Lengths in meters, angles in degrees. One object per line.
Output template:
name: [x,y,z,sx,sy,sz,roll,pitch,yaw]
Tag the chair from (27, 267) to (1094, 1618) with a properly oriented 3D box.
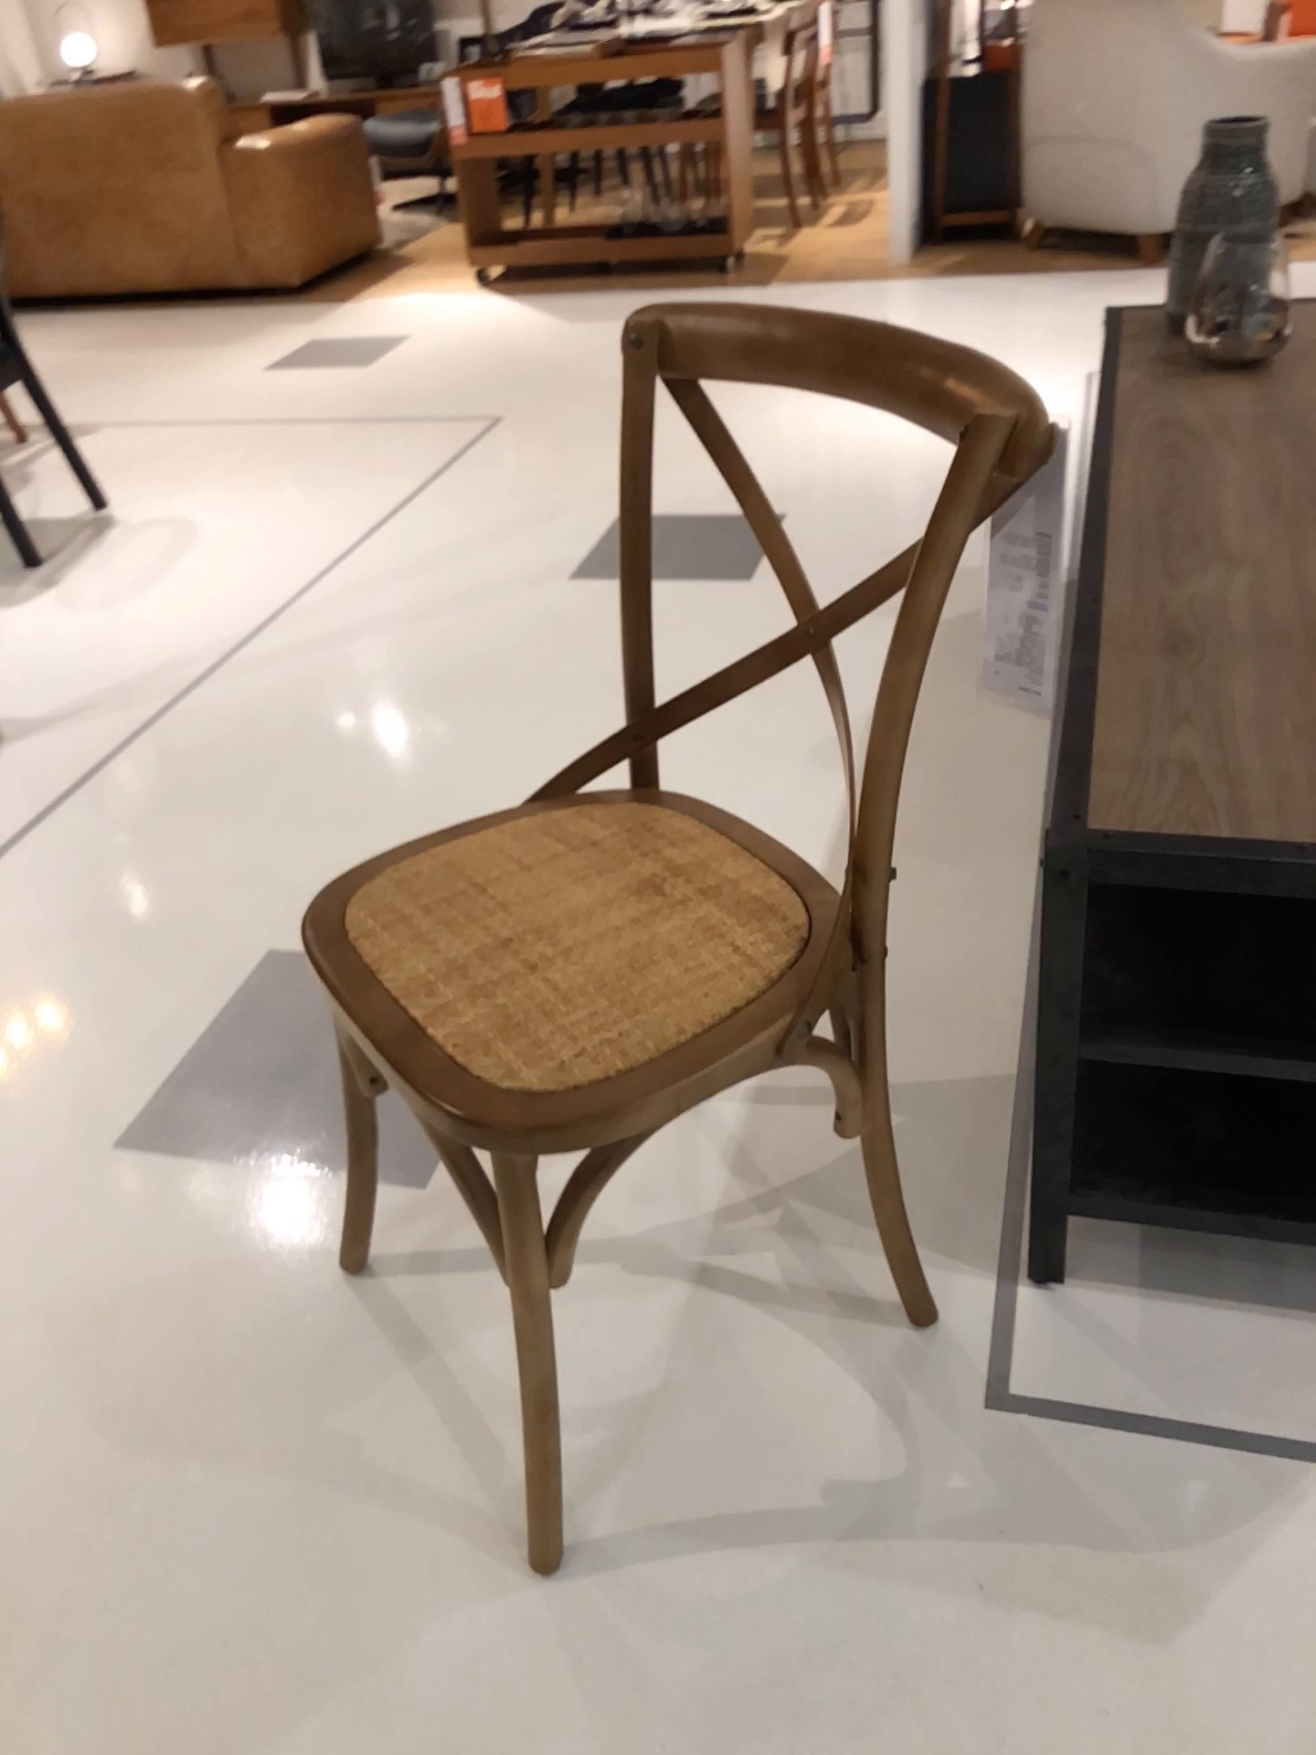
chair: [-0.048,0.020,1.234,0.571,0.863,0.503,-24,36,-25]
